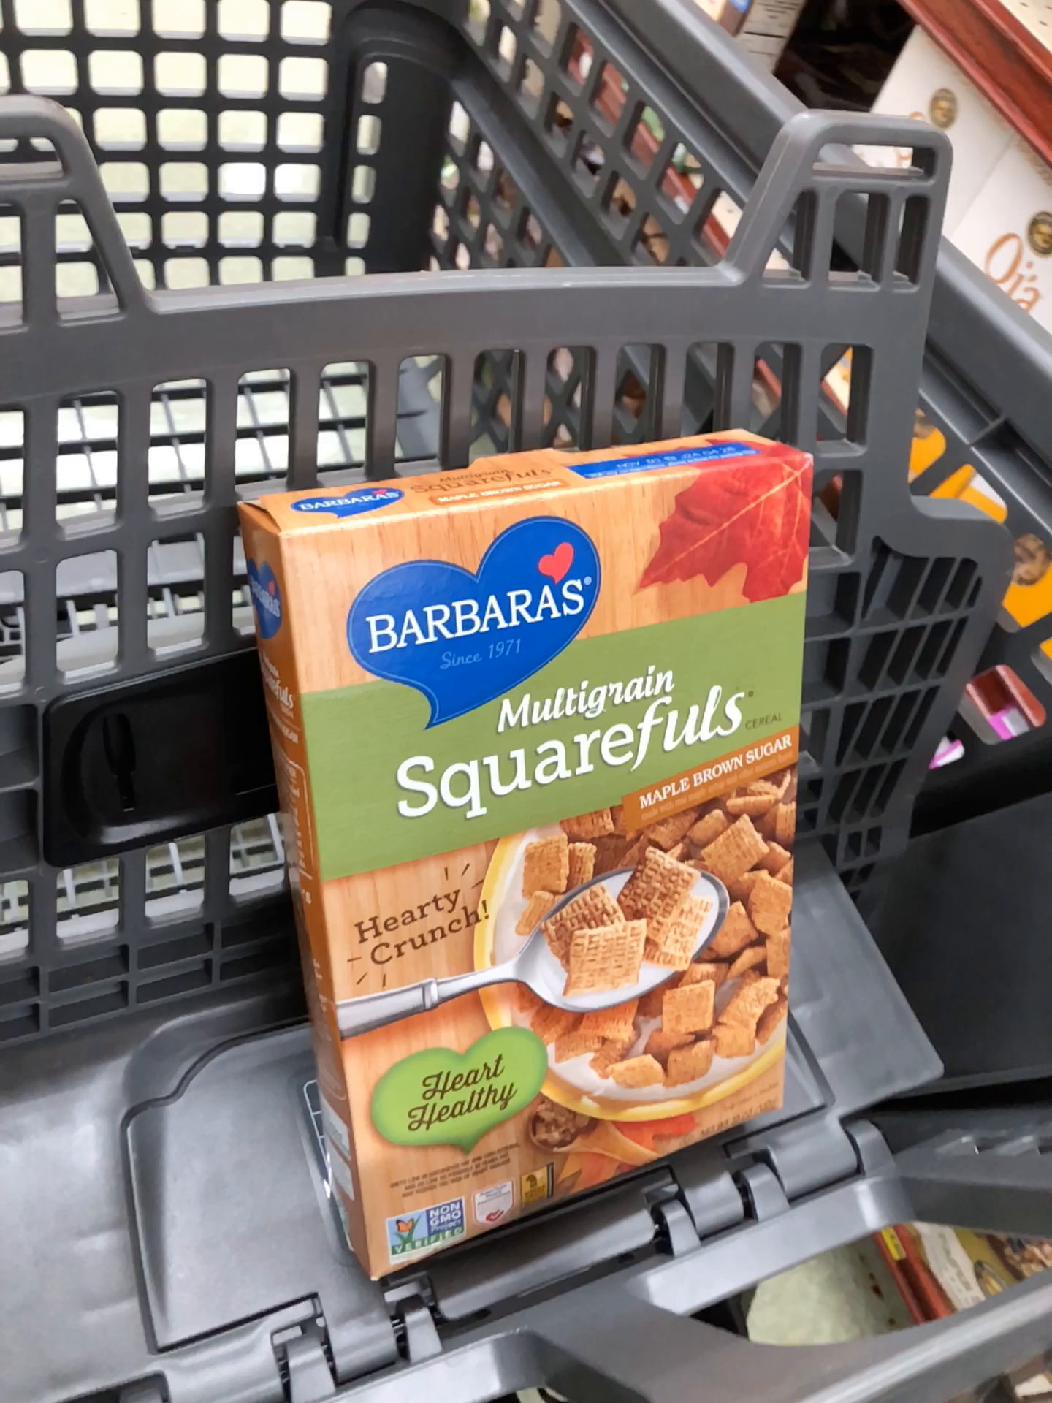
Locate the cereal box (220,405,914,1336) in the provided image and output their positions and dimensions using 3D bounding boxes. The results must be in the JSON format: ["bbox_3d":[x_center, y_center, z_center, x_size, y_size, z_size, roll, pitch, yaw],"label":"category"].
[{"bbox_3d":[0.021,0.049,0.378,0.190,0.260,0.060,-12,24,-23],"label":"cereal box"}]
